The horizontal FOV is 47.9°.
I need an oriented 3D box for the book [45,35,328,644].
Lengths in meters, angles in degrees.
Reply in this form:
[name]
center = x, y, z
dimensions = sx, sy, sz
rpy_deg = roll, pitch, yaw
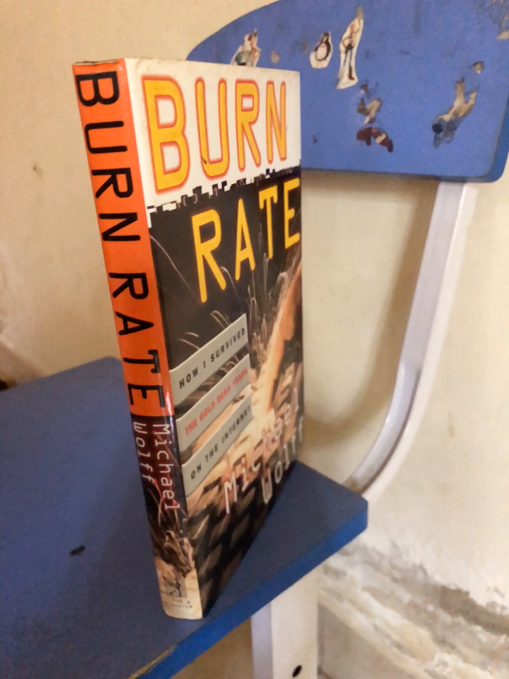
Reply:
[book]
center = -0.007, -0.014, 0.307
dimensions = 0.040, 0.239, 0.201
rpy_deg = 5, 21, 21
